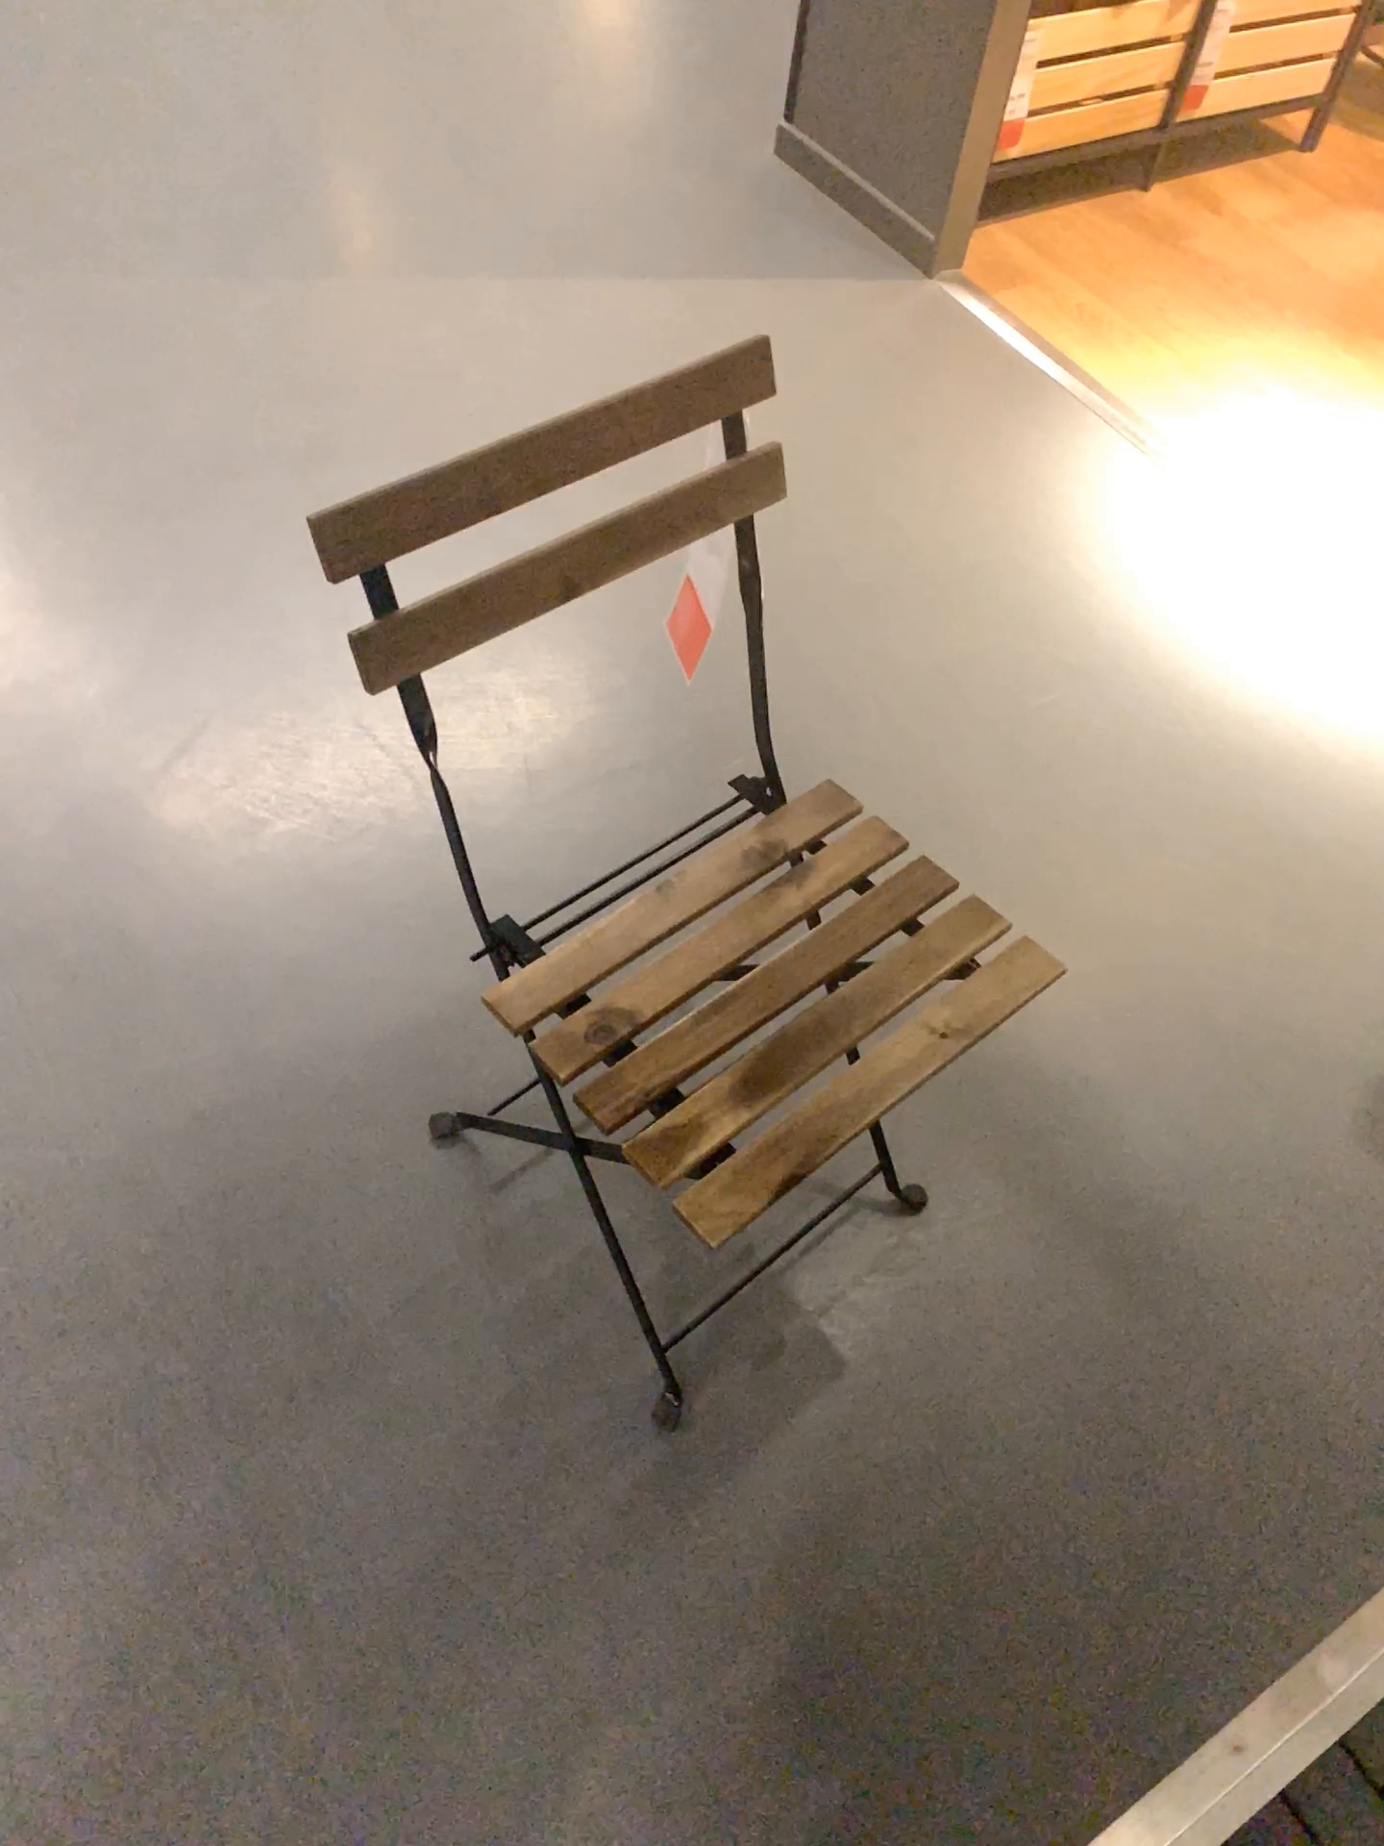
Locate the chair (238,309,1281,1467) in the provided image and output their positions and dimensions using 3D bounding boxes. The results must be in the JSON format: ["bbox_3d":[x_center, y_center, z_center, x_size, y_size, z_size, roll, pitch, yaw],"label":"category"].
[{"bbox_3d":[0.008,0.003,1.152,0.431,0.698,0.501,-33,63,-27],"label":"chair"}]
